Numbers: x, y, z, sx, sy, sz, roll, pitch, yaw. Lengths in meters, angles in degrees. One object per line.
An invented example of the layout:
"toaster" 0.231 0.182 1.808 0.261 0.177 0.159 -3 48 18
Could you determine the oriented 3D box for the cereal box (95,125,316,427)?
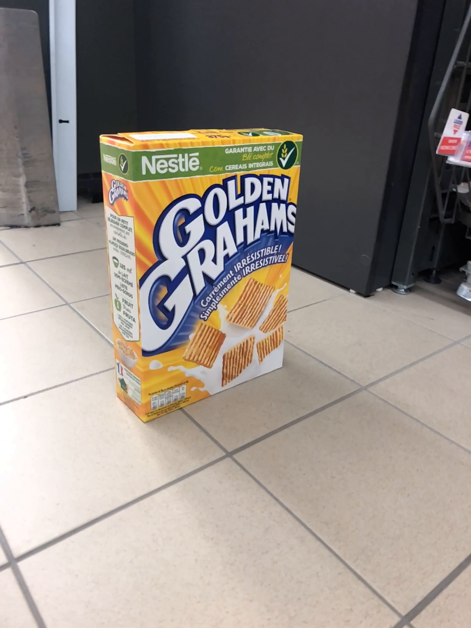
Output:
"cereal box" -0.027 -0.046 0.533 0.201 0.268 0.070 -17 32 -35
